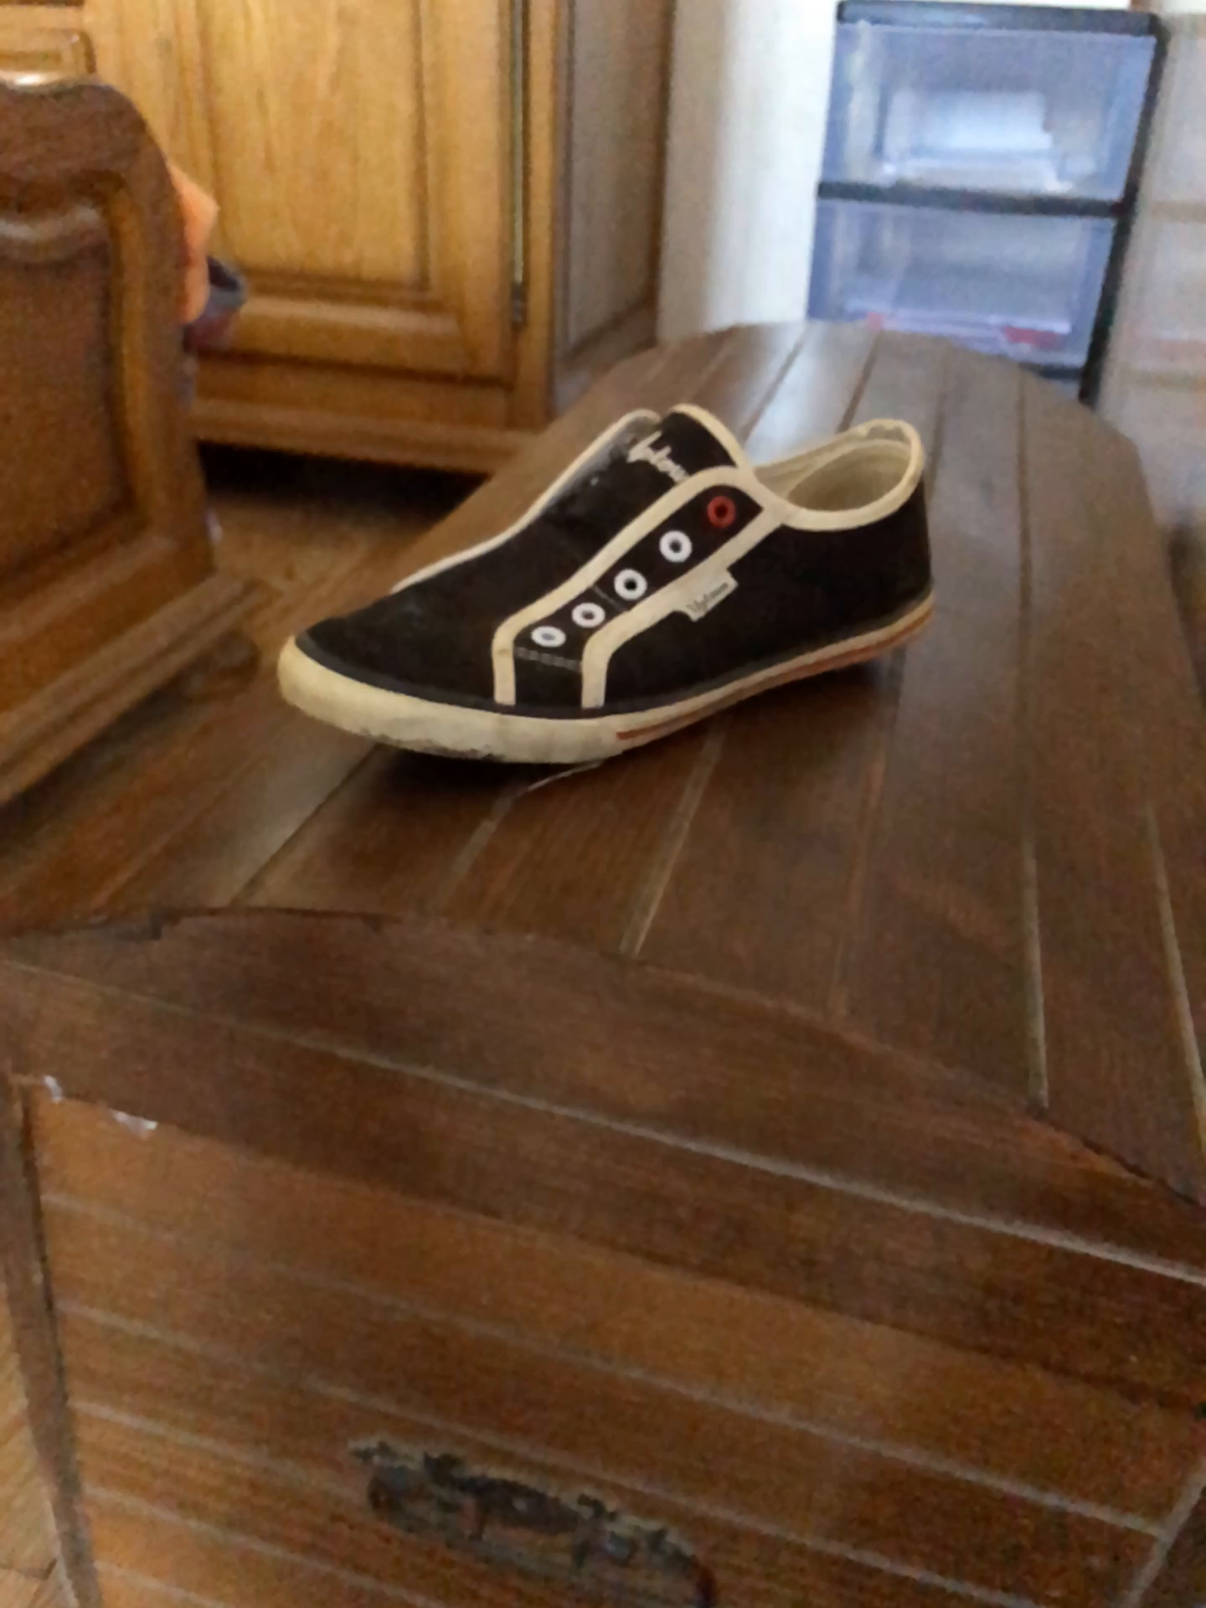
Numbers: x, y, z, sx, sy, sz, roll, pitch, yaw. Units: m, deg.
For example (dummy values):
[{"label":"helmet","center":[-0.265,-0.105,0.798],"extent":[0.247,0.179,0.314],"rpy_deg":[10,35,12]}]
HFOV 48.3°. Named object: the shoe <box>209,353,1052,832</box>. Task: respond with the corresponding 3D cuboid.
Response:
[{"label":"shoe","center":[0.015,-0.080,0.427],"extent":[0.241,0.080,0.100],"rpy_deg":[-17,35,-29]}]
